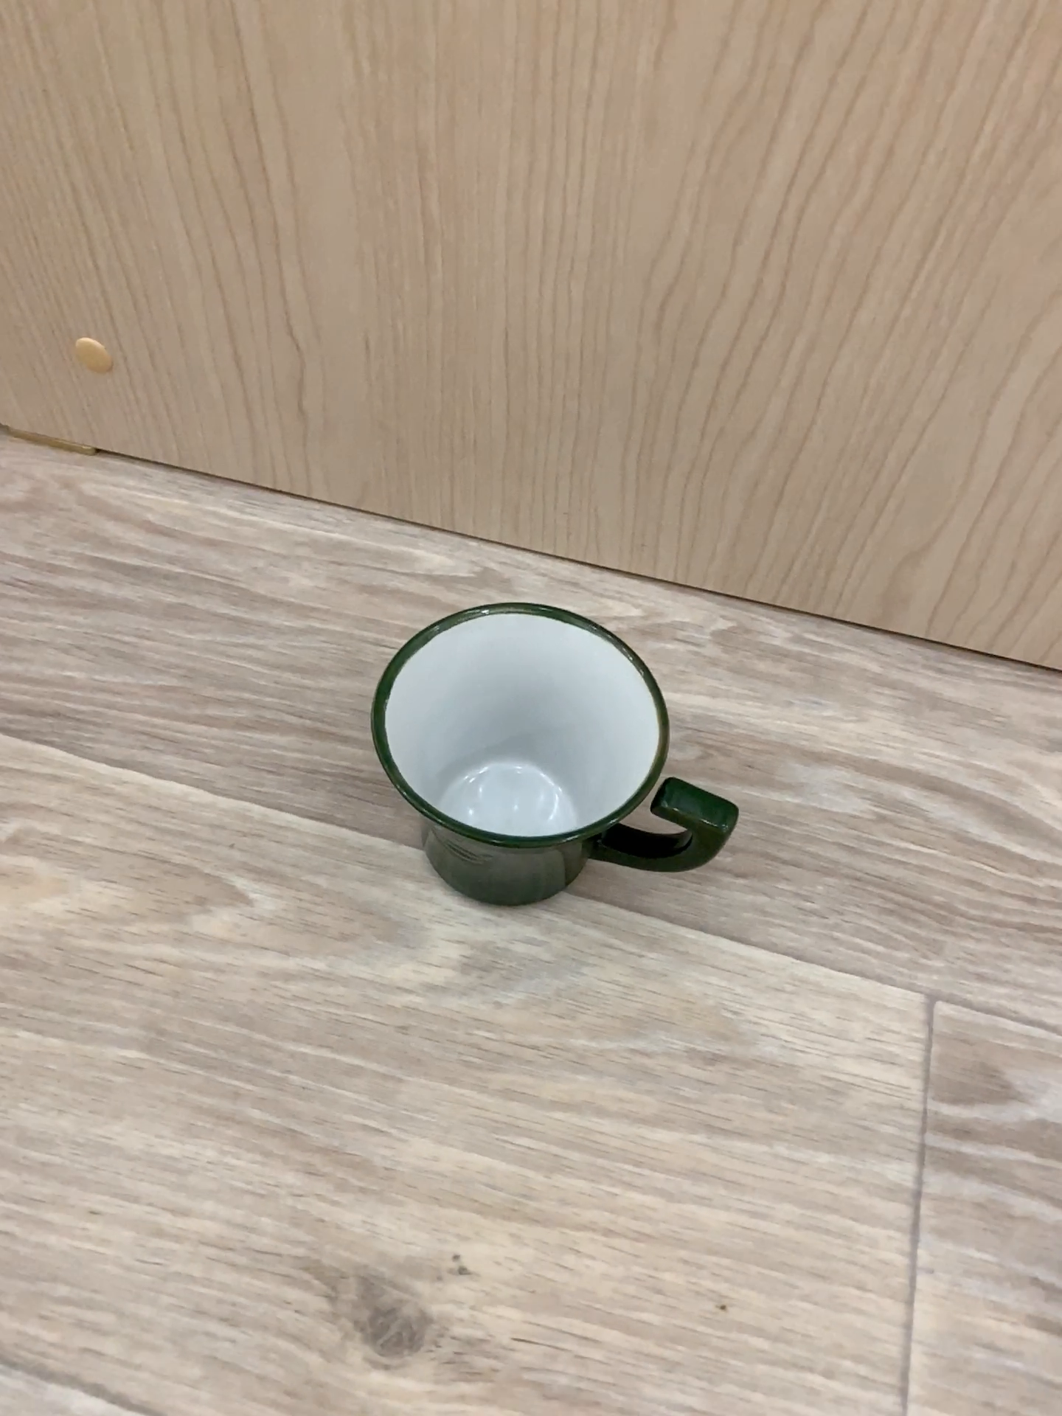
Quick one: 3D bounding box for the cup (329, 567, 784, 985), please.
[{"bbox_3d":[0.008,0.019,0.321,0.106,0.061,0.074,16,55,8],"label":"cup"}]
